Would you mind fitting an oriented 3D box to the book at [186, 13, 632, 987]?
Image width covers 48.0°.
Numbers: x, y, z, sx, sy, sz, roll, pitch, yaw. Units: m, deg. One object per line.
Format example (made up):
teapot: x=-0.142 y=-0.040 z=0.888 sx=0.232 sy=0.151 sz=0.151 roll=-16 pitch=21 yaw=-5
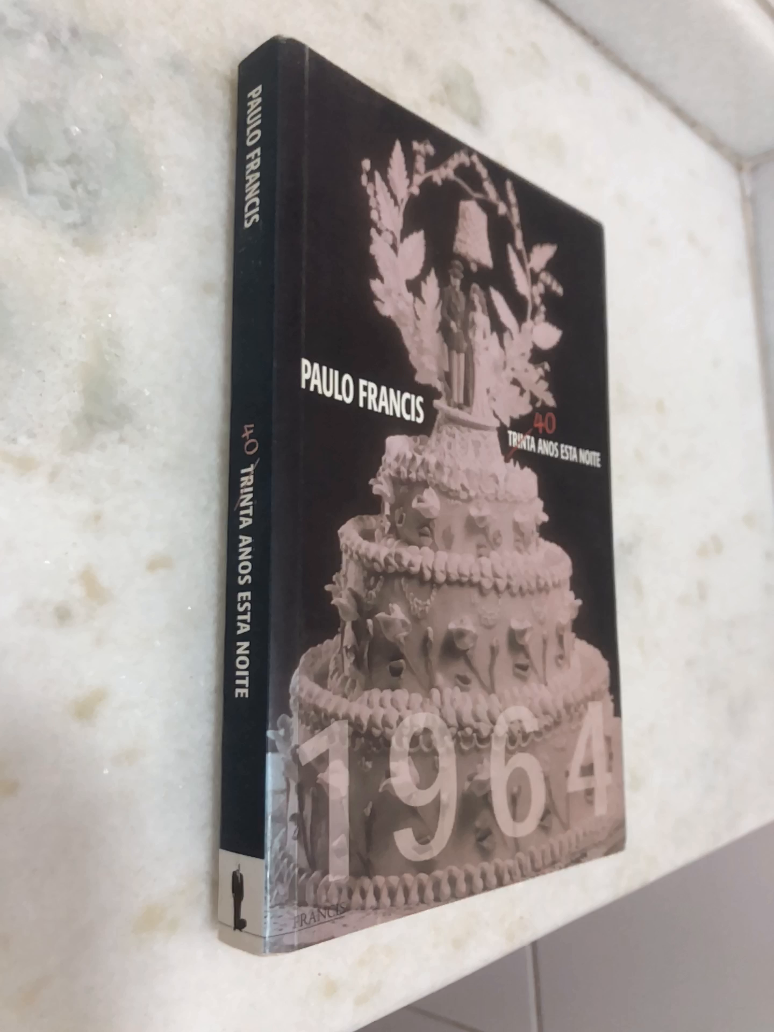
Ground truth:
book: x=0.017 y=-0.004 z=0.235 sx=0.141 sy=0.020 sz=0.203 roll=8 pitch=79 yaw=-43
